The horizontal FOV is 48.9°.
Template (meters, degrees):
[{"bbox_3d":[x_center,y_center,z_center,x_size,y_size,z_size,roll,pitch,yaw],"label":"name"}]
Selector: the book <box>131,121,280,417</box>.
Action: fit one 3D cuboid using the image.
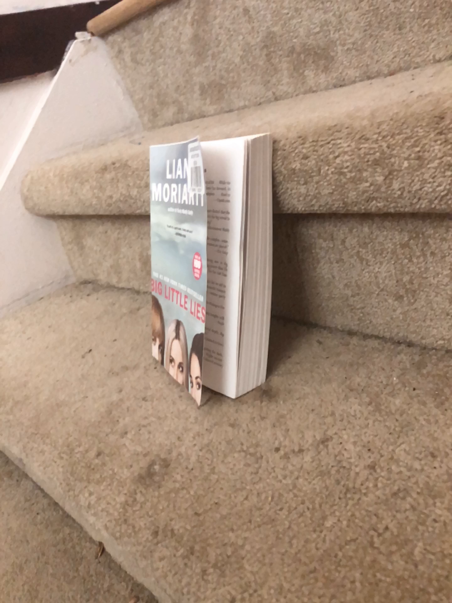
[{"bbox_3d":[-0.027,-0.035,0.427,0.050,0.209,0.161,-6,15,-31],"label":"book"}]
